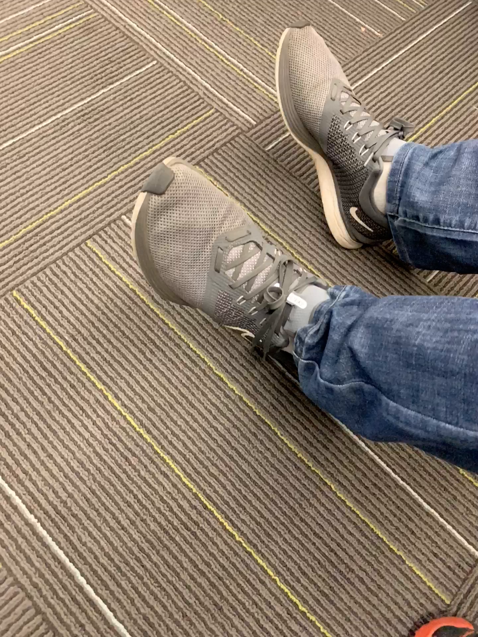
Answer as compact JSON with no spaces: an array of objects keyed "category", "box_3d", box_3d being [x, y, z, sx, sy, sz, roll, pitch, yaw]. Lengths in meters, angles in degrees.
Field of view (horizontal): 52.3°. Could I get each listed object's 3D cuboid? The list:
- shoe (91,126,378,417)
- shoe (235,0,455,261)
[{"category":"shoe","box_3d":[0.021,-0.028,0.482,0.122,0.293,0.119,15,68,38]},{"category":"shoe","box_3d":[0.136,-0.232,0.600,0.119,0.122,0.294,-38,112,-26]}]
